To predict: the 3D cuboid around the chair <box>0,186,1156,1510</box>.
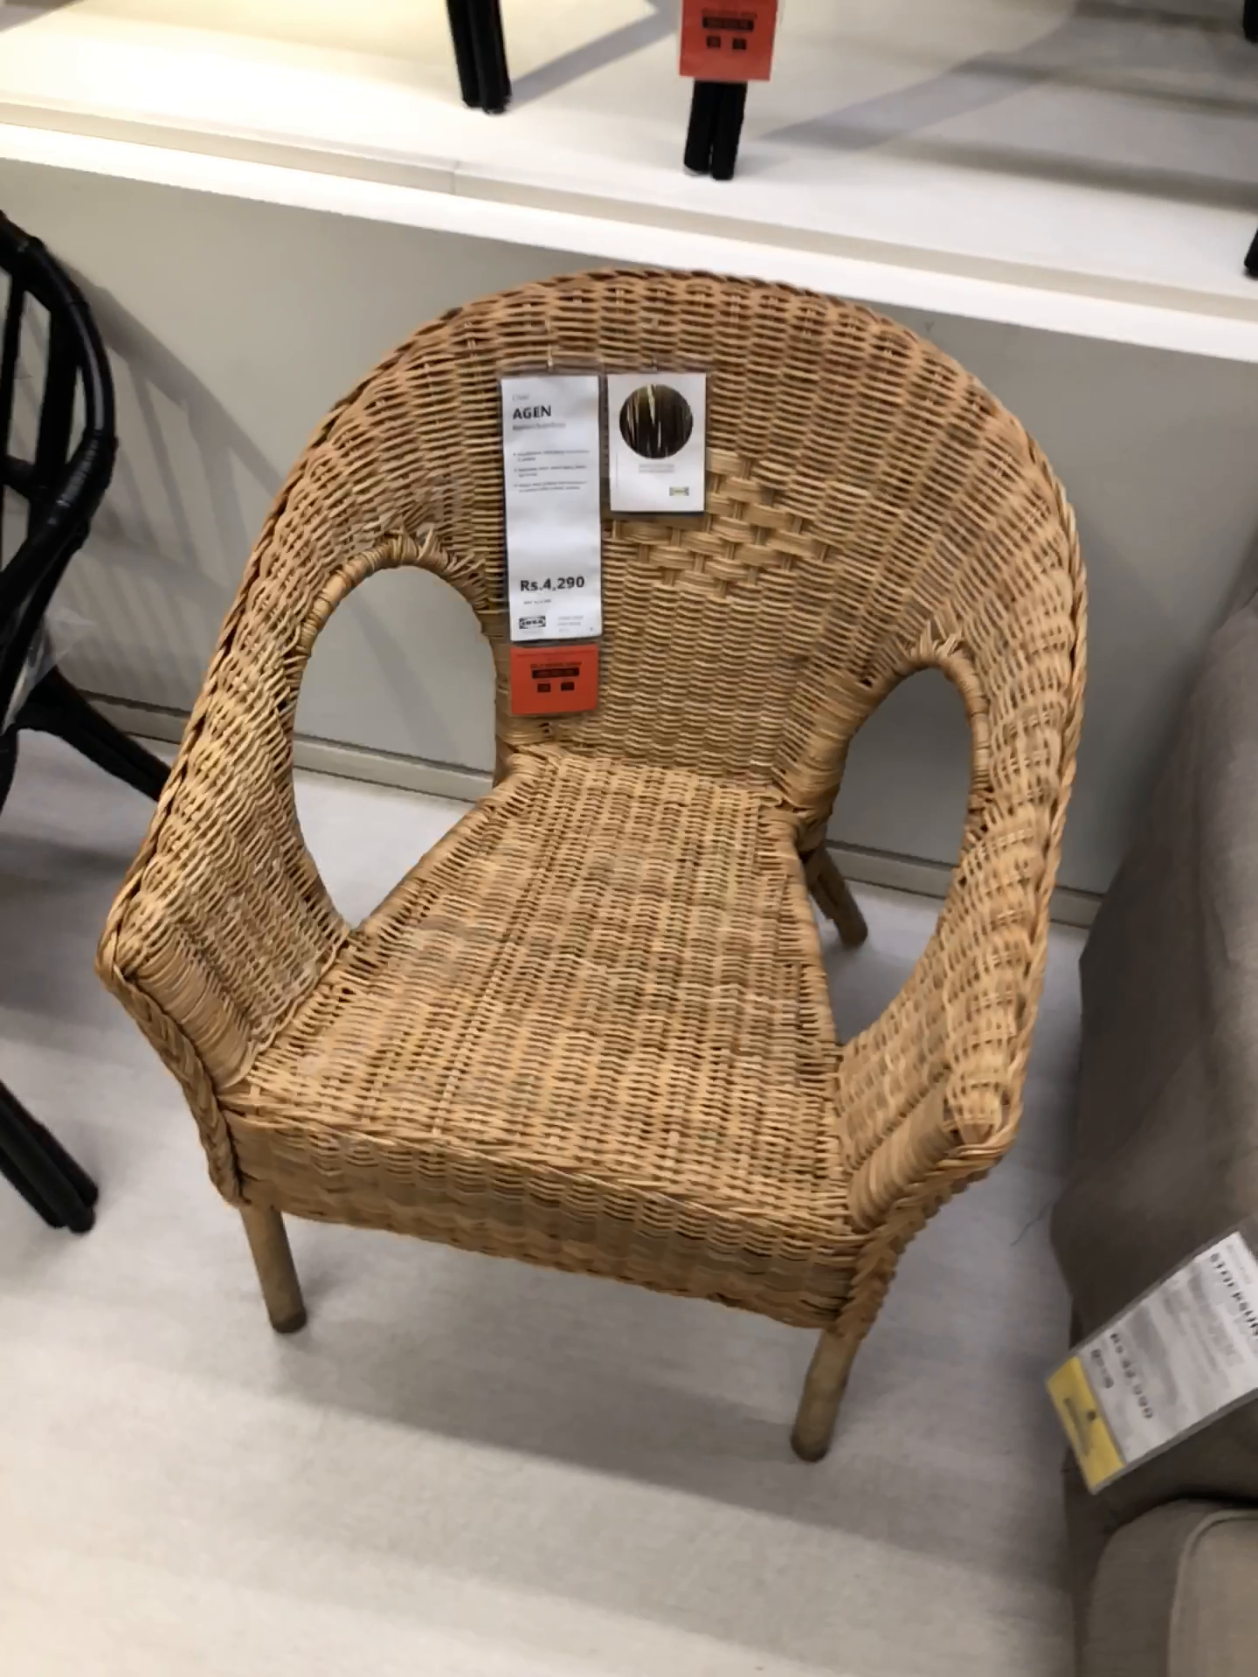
[{"bbox_3d":[-0.006,0.036,1.037,0.550,0.696,0.603,11,52,6],"label":"chair"}]
